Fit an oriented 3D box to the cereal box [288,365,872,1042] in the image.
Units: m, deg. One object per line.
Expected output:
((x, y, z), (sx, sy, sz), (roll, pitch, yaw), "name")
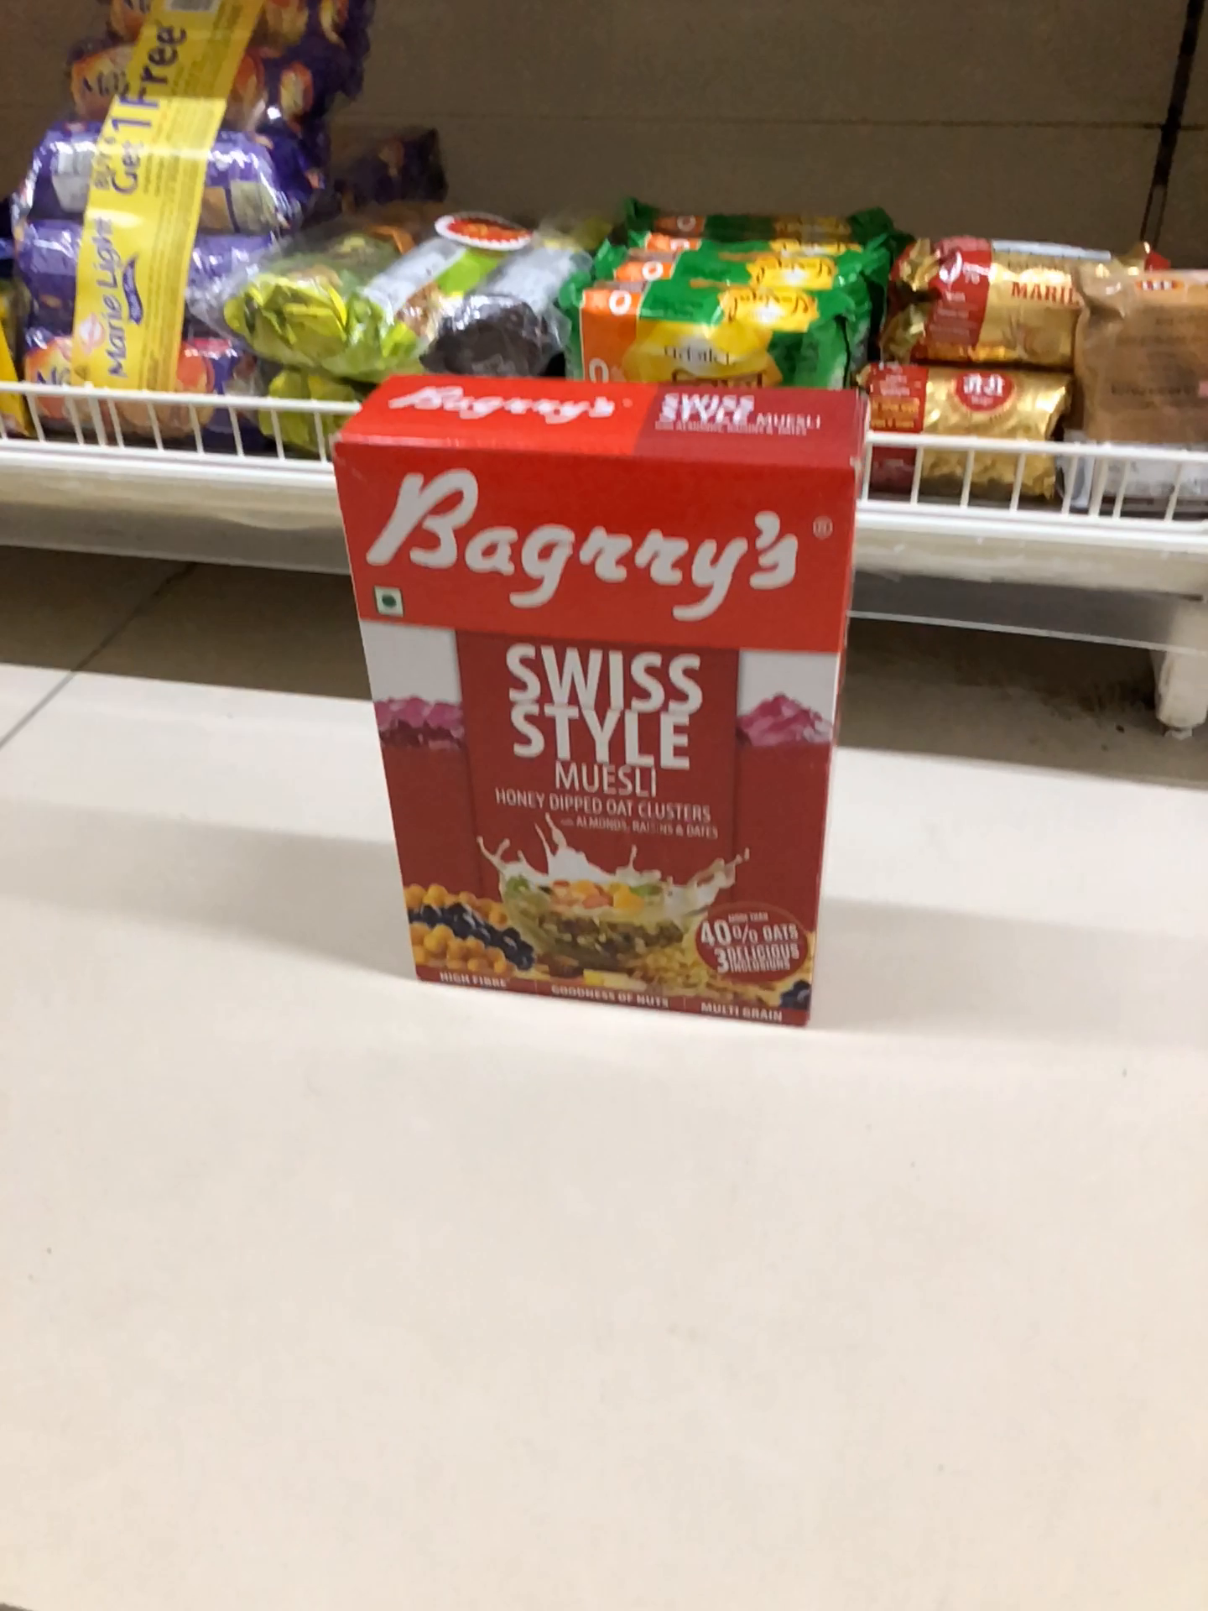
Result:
((-0.003, -0.032, 0.527), (0.190, 0.258, 0.060), (6, 37, 11), "cereal box")
